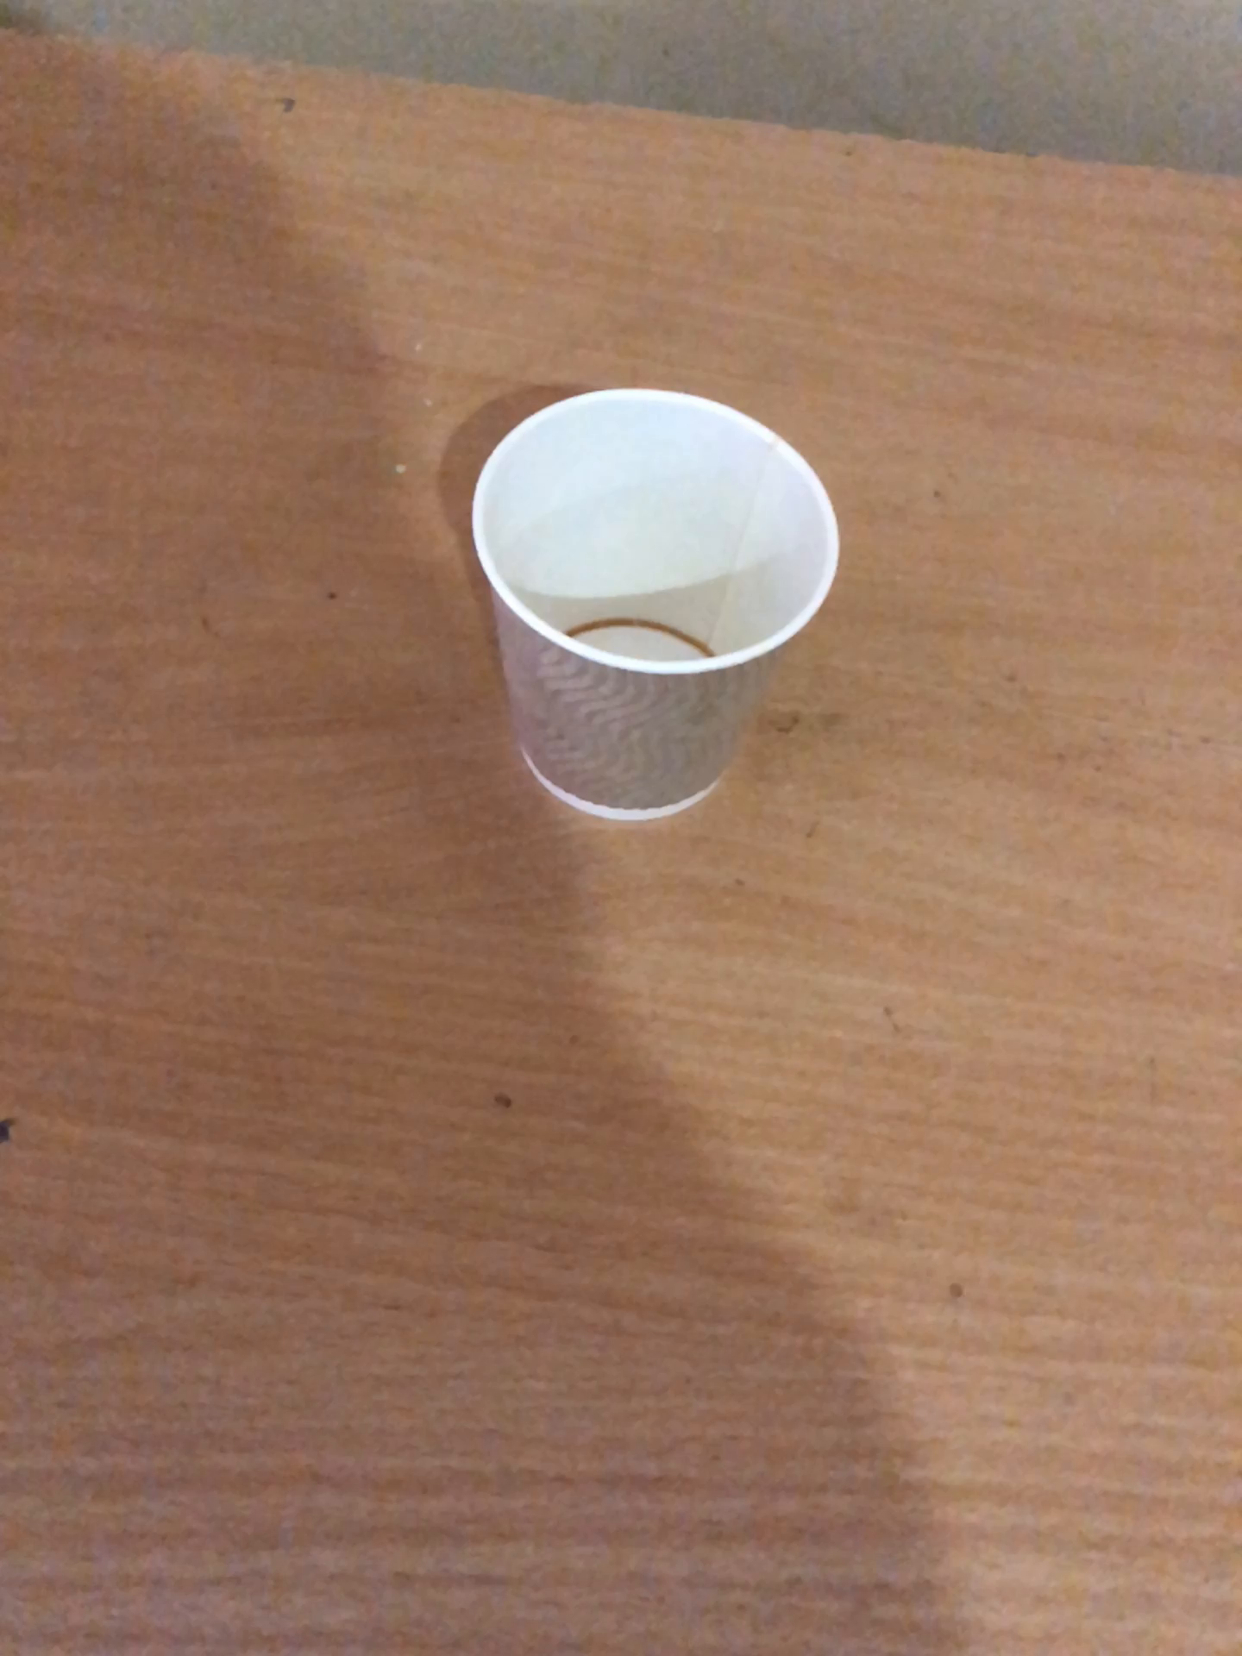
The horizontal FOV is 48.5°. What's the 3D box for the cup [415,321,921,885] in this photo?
[{"bbox_3d":[0.006,-0.046,0.286,0.067,0.064,0.074,-24,65,-15],"label":"cup"}]
